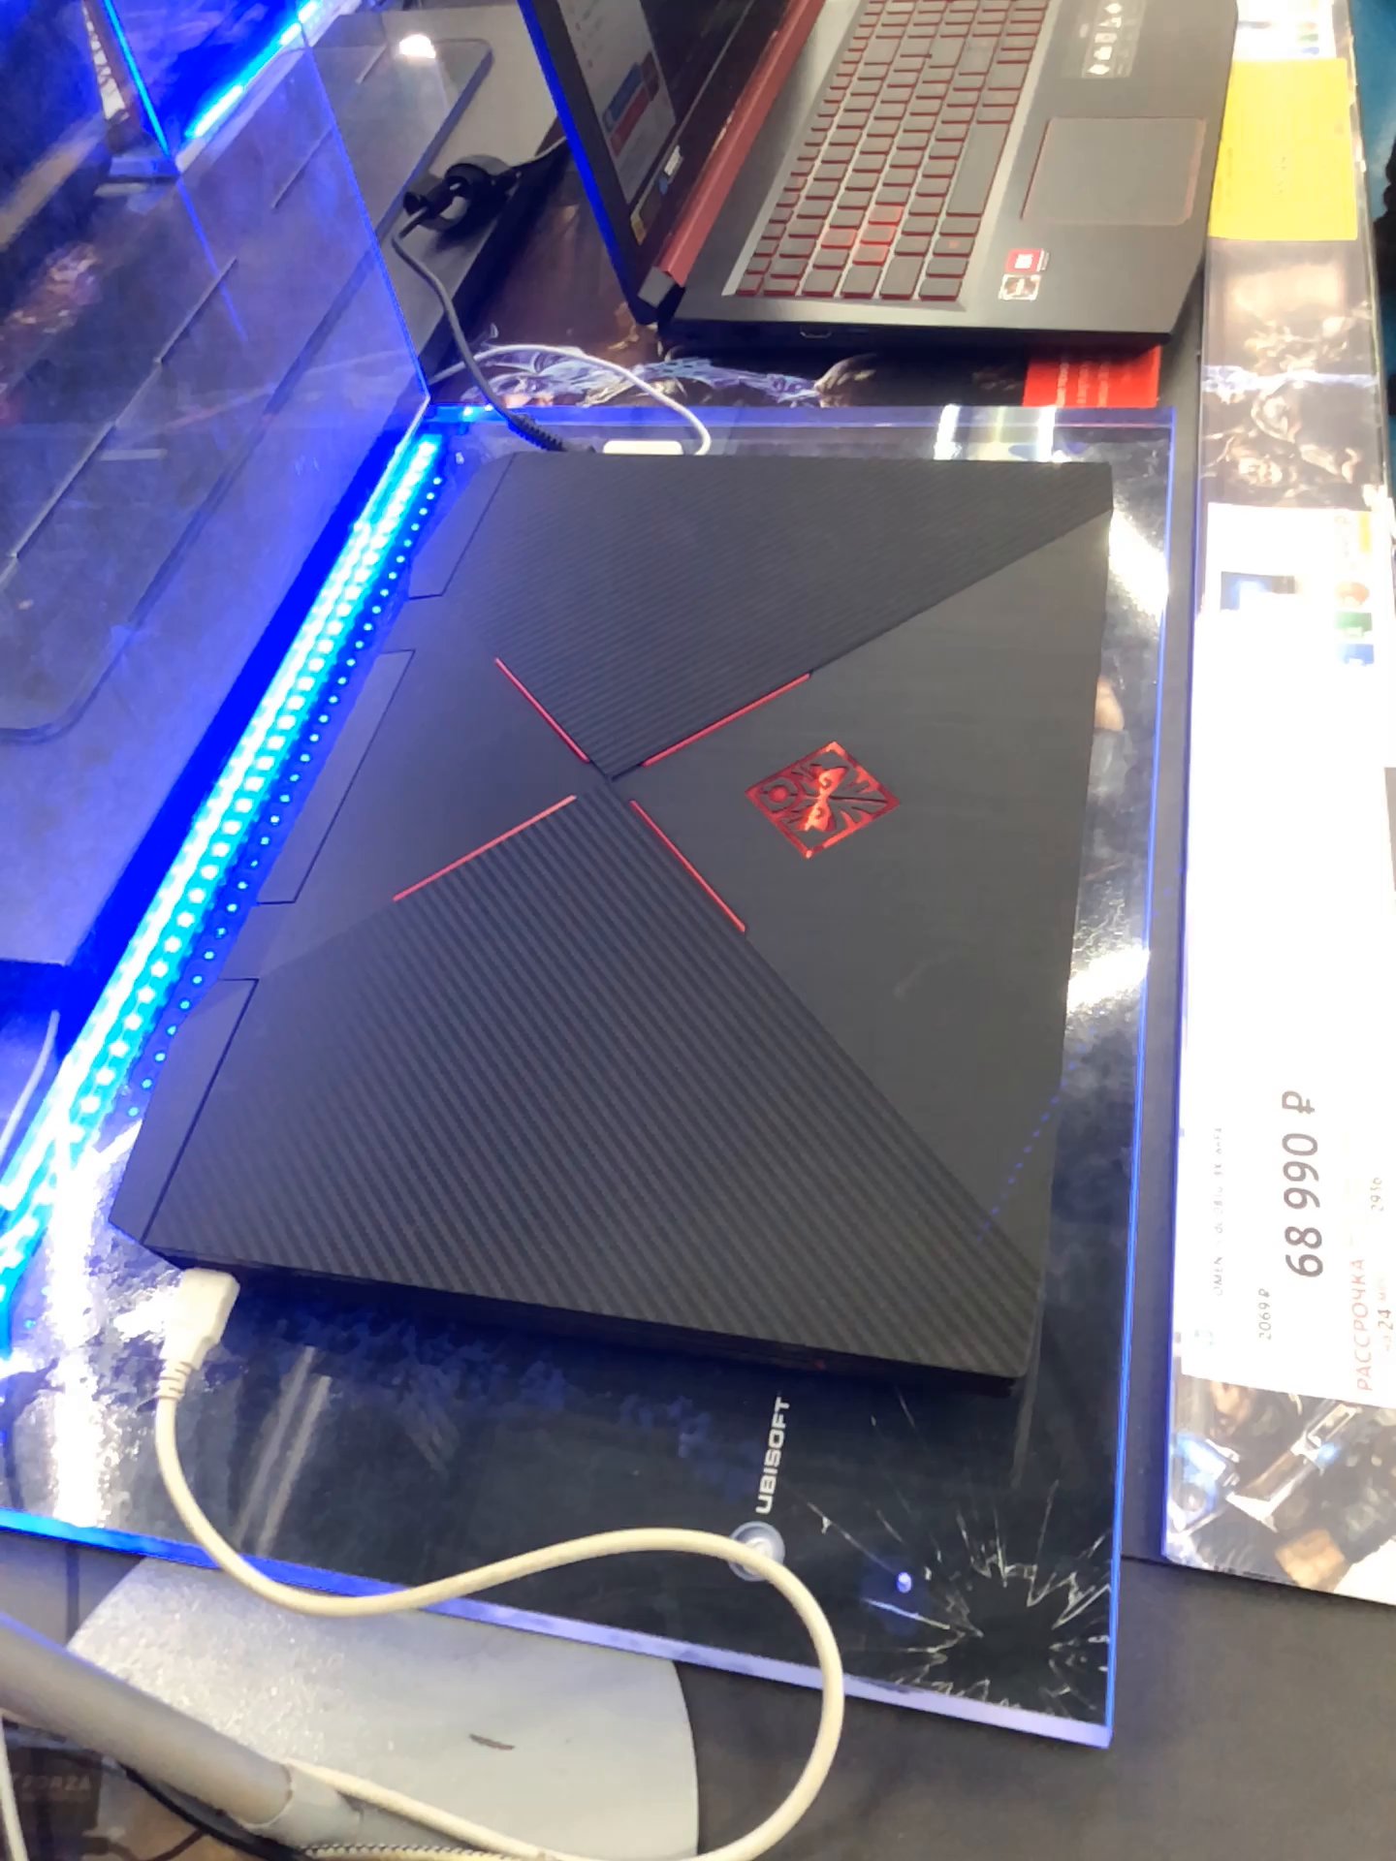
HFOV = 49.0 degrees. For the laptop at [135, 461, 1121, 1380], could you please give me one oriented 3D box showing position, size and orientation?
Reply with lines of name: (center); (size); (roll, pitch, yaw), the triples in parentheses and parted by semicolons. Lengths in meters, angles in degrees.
laptop: (0.001, -0.041, 0.493); (0.237, 0.003, 0.351); (6, 54, 14)
